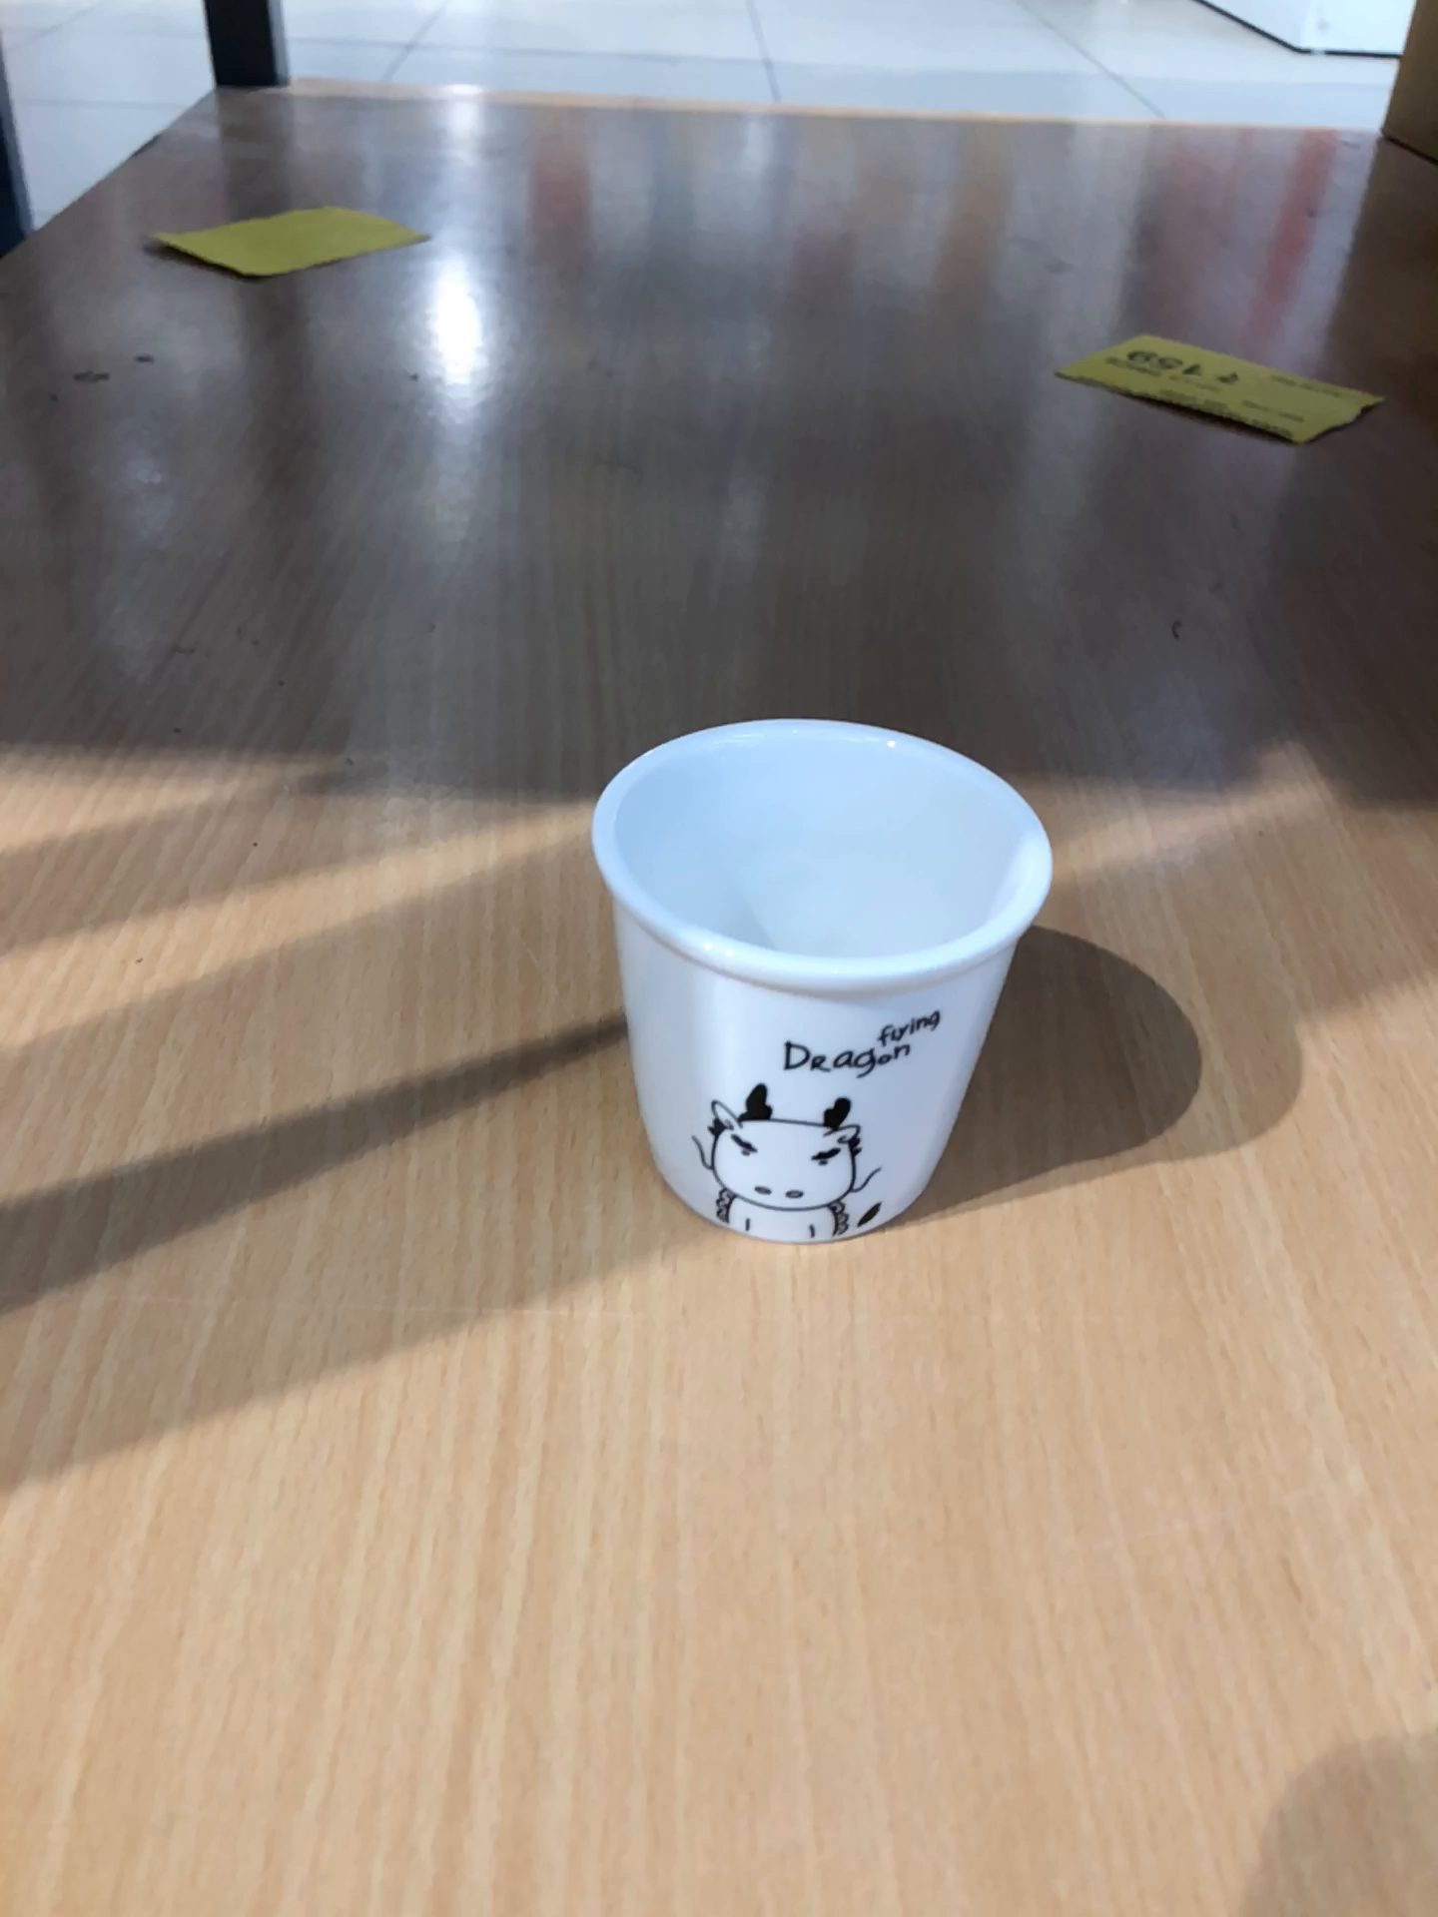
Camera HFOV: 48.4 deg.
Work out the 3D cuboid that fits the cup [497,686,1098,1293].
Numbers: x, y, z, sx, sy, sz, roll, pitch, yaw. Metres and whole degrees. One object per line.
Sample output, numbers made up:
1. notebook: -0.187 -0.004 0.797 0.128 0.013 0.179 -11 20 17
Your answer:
1. cup: 0.010 0.003 0.262 0.080 0.060 0.081 2 37 -1
